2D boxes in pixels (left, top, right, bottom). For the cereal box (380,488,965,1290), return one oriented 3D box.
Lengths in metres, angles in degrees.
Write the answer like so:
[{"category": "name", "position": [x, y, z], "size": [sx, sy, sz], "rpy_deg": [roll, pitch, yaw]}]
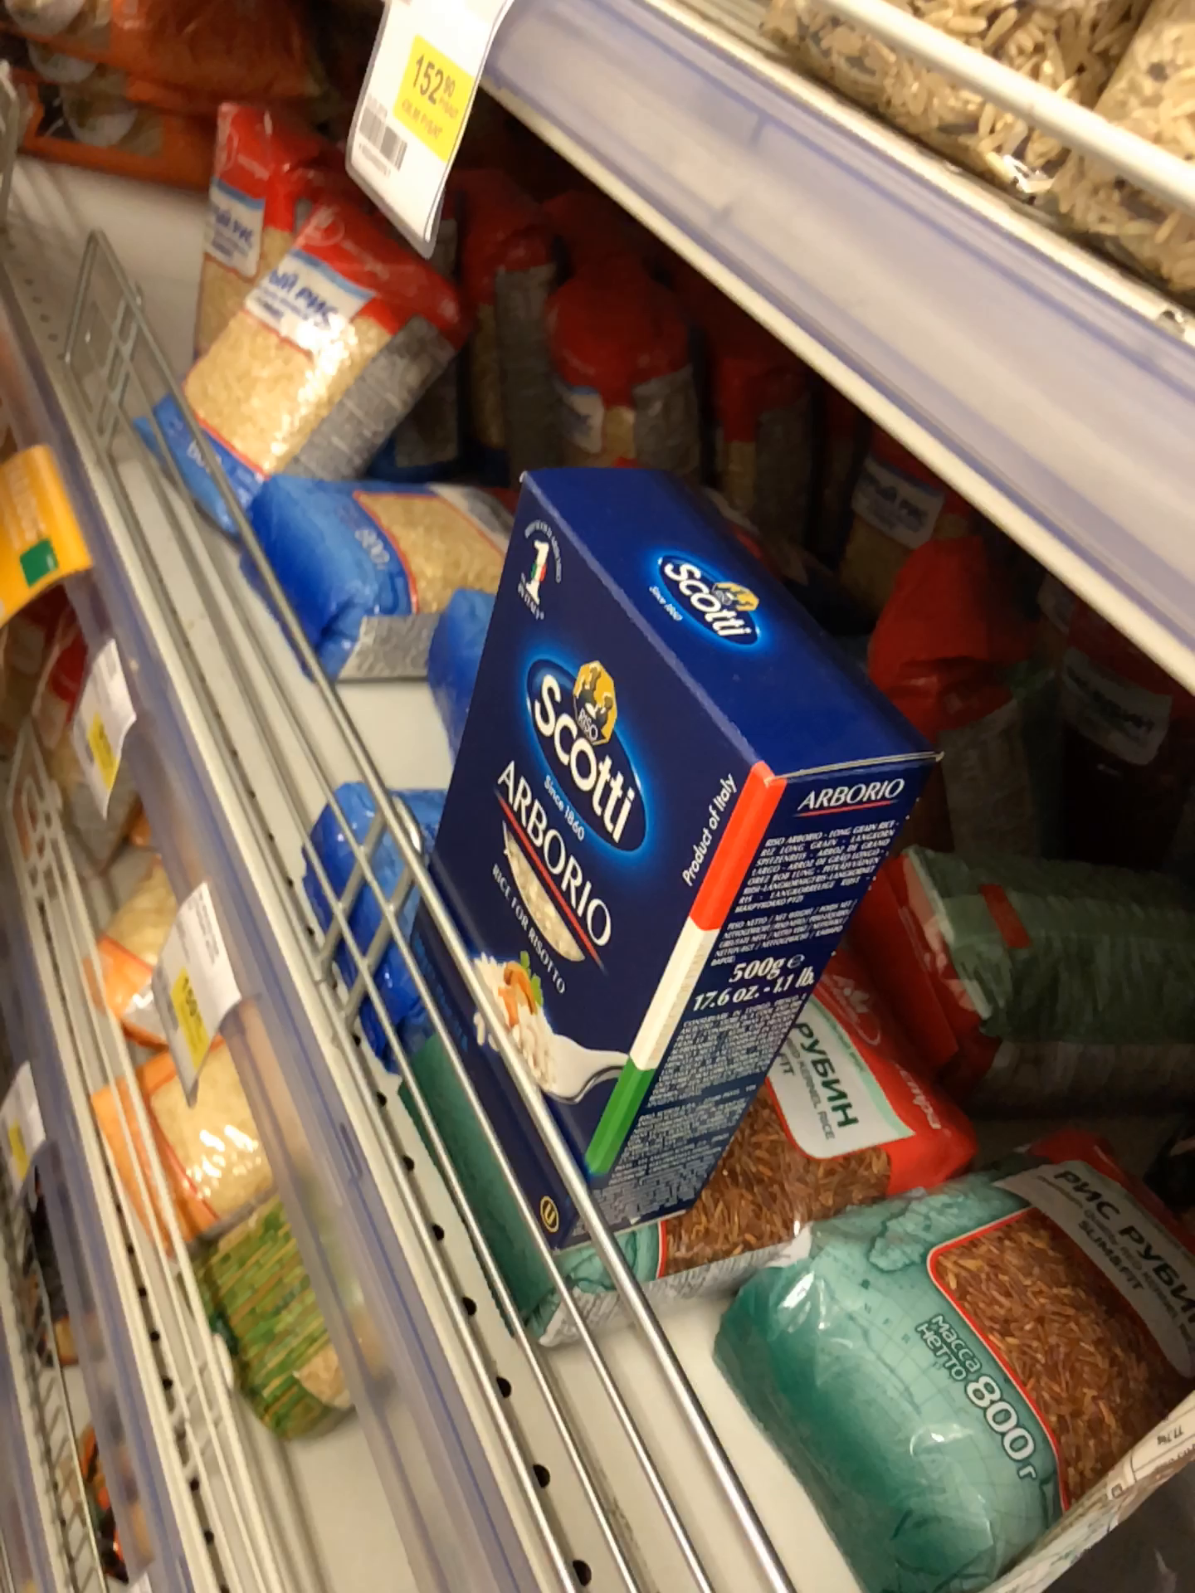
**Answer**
[{"category": "cereal box", "position": [0.004, 0.023, 0.328], "size": [0.050, 0.159, 0.110], "rpy_deg": [-6, 43, -32]}]
